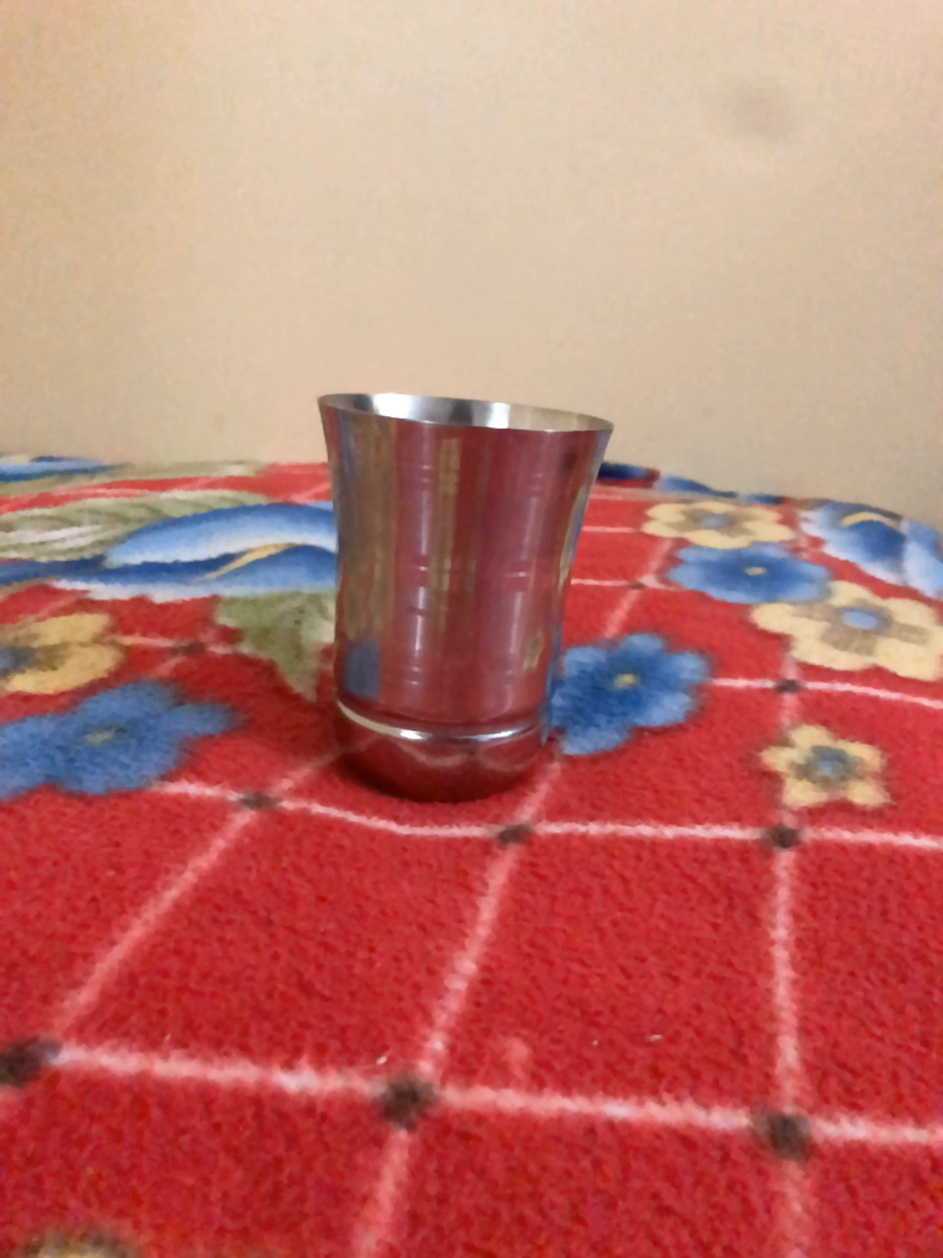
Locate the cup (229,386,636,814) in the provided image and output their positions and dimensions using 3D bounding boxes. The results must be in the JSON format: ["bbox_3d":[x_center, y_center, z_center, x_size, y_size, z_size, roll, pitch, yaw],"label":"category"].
[{"bbox_3d":[-0.007,-0.015,0.275,0.087,0.090,0.089,3,14,-1],"label":"cup"}]
